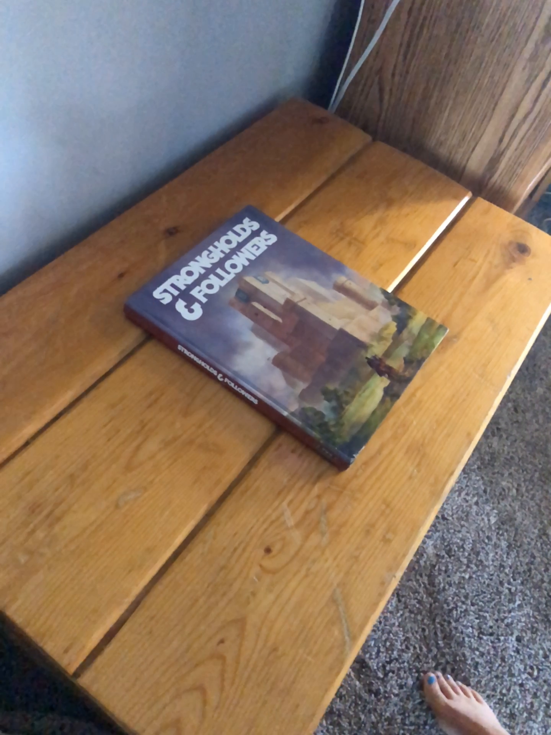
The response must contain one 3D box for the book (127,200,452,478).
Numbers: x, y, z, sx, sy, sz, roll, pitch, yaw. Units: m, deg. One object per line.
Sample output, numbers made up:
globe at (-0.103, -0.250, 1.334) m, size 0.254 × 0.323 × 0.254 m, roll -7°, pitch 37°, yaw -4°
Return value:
book at (0.019, -0.047, 0.664) m, size 0.281 × 0.042 × 0.213 m, roll 35°, pitch 57°, yaw 13°
